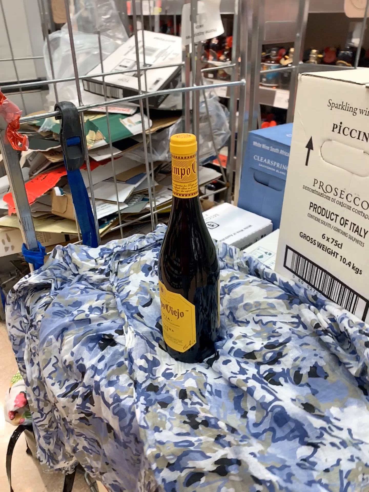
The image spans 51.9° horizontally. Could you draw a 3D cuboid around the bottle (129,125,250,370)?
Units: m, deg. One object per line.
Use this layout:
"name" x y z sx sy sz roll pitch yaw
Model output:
"bottle" 0.003 0.006 0.460 0.090 0.270 0.091 0 30 0
